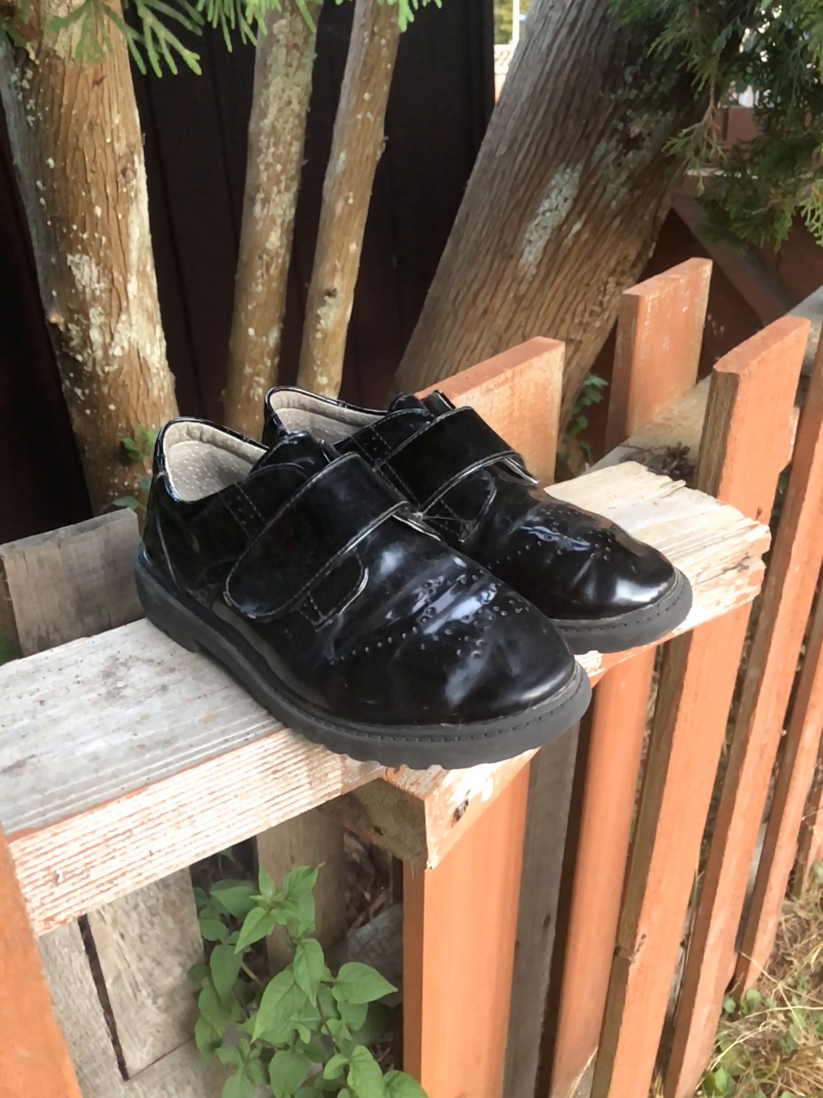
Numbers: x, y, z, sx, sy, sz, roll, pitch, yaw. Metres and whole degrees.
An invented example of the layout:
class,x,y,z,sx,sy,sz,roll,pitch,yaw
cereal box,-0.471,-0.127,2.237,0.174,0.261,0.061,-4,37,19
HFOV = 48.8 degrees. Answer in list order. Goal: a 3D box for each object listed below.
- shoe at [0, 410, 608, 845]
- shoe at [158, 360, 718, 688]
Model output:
class,x,y,z,sx,sy,sz,roll,pitch,yaw
shoe,-0.054,0.011,0.361,0.241,0.070,0.090,18,34,34
shoe,0.005,-0.025,0.408,0.231,0.070,0.090,16,33,31
